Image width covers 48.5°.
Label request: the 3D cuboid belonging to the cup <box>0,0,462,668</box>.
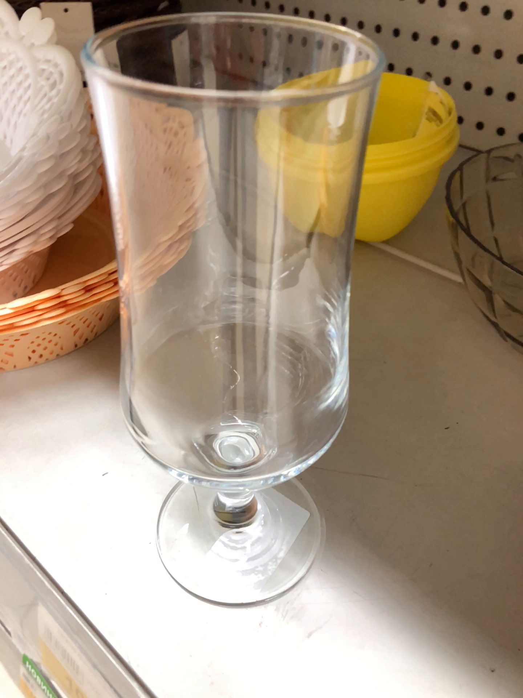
[{"bbox_3d":[-0.006,0.008,0.189,0.078,0.194,0.075,1,40,-1],"label":"cup"}]
